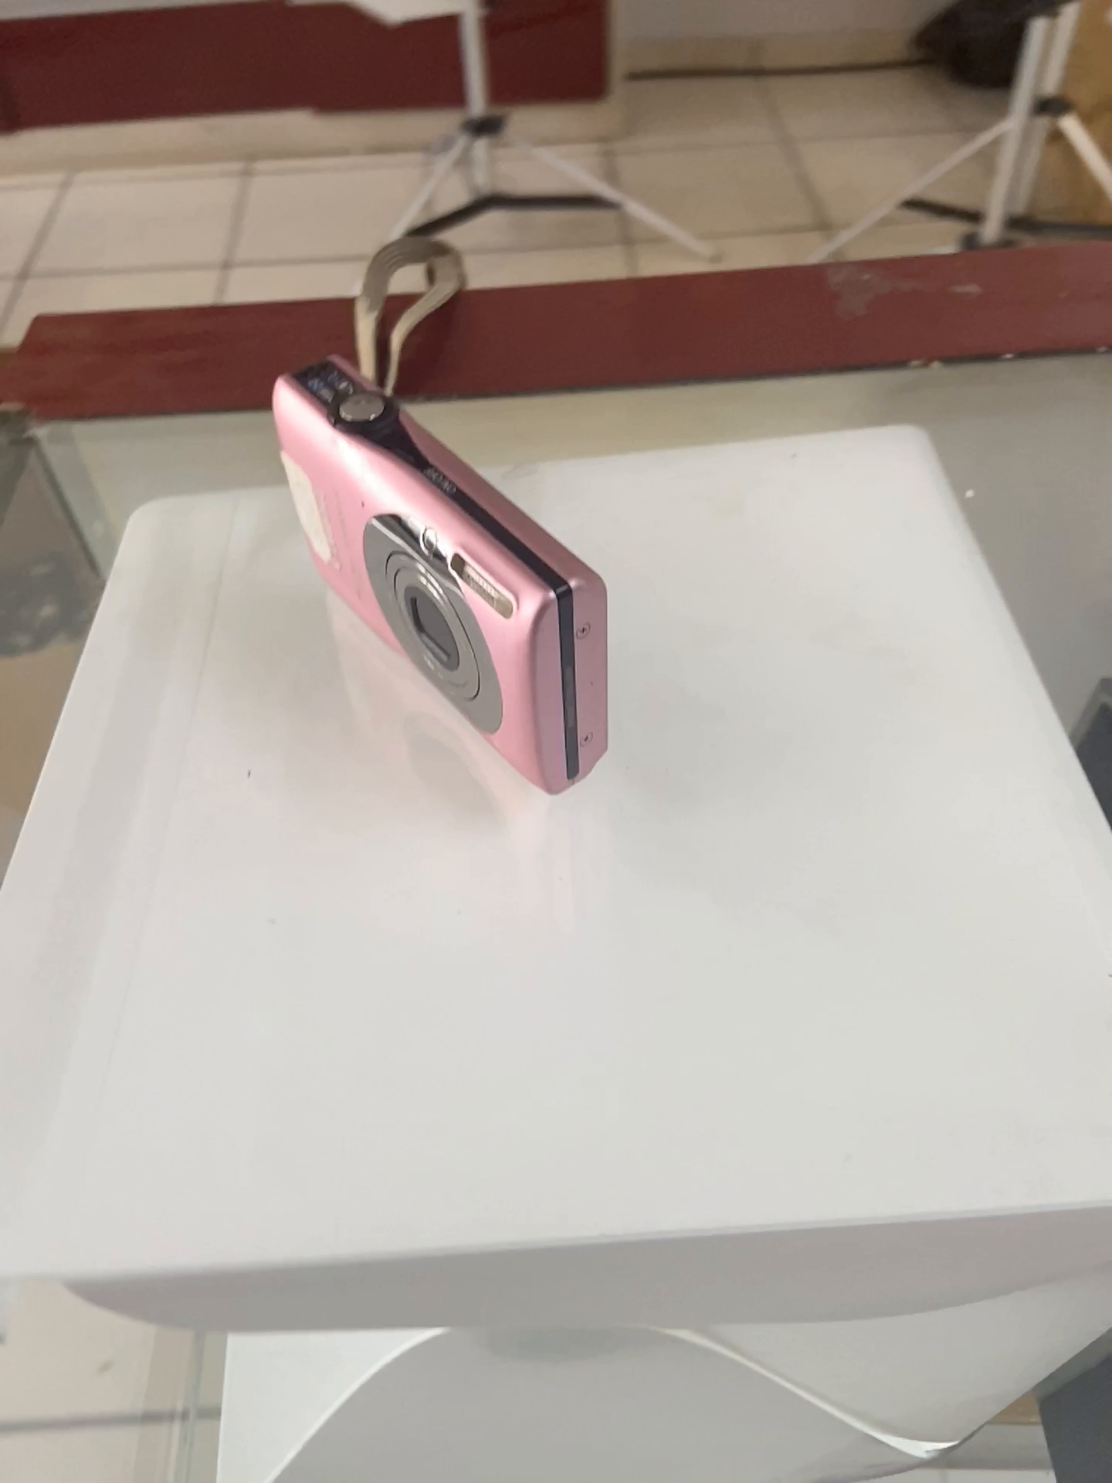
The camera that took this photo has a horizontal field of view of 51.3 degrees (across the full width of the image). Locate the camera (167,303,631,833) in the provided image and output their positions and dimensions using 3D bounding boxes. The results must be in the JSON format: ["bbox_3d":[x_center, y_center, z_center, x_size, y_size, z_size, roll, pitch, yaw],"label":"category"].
[{"bbox_3d":[-0.031,-0.036,0.225,0.030,0.050,0.100,-34,58,-23],"label":"camera"}]
